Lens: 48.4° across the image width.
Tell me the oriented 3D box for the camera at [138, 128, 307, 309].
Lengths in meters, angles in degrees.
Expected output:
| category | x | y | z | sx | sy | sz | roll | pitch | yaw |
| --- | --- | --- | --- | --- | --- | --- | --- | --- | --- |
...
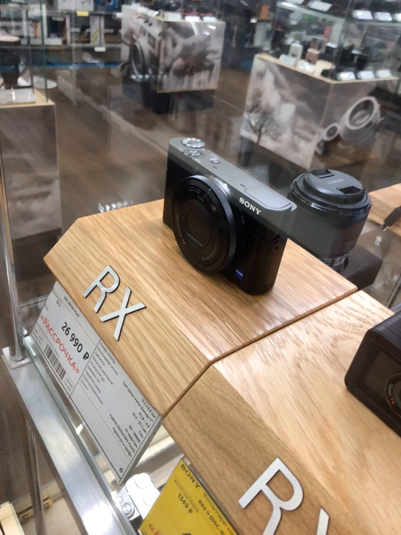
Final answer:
| category | x | y | z | sx | sy | sz | roll | pitch | yaw |
| --- | --- | --- | --- | --- | --- | --- | --- | --- | --- |
| camera | 0.006 | -0.035 | 0.274 | 0.037 | 0.062 | 0.106 | -19 | 44 | -33 |
